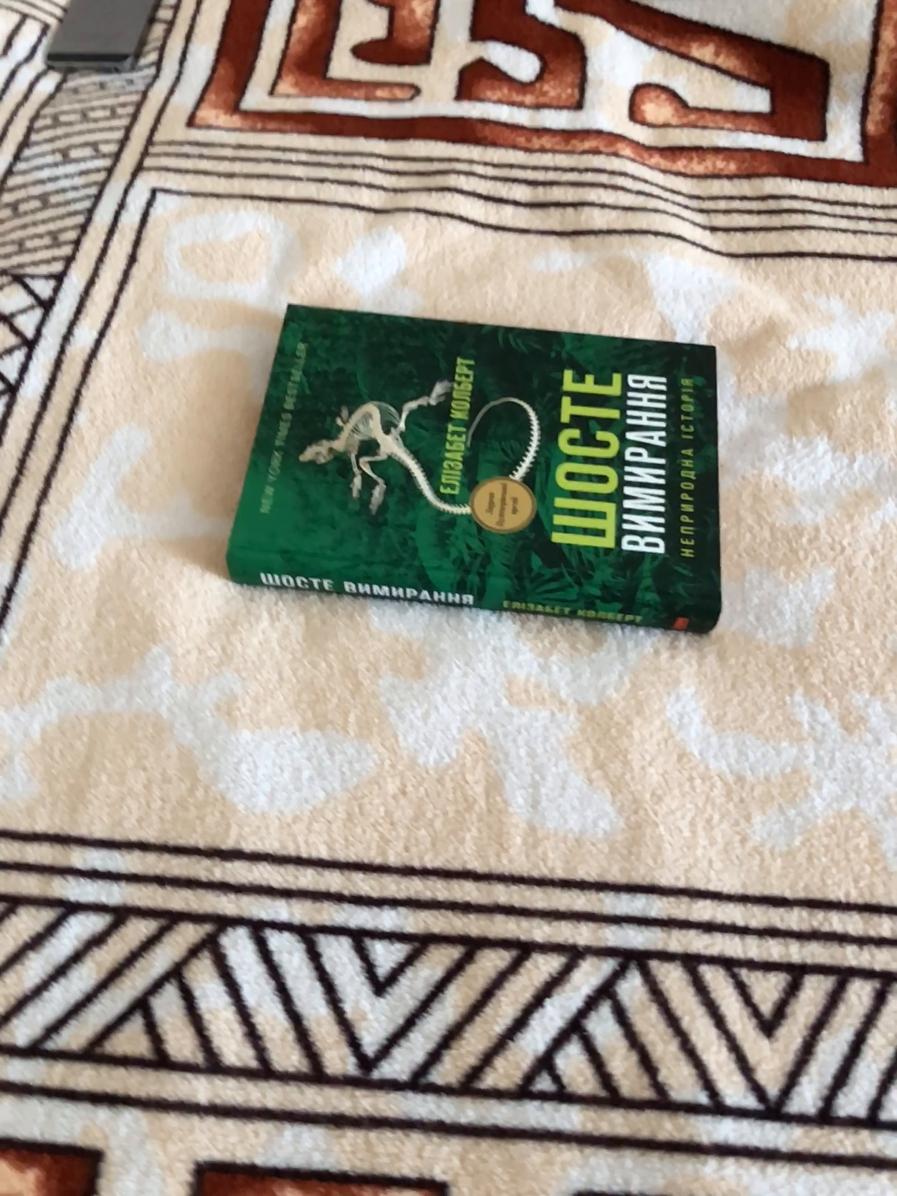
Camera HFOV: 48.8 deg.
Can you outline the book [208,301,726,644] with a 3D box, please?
[{"bbox_3d":[0.015,-0.064,0.465,0.220,0.030,0.150,6,63,3],"label":"book"}]
